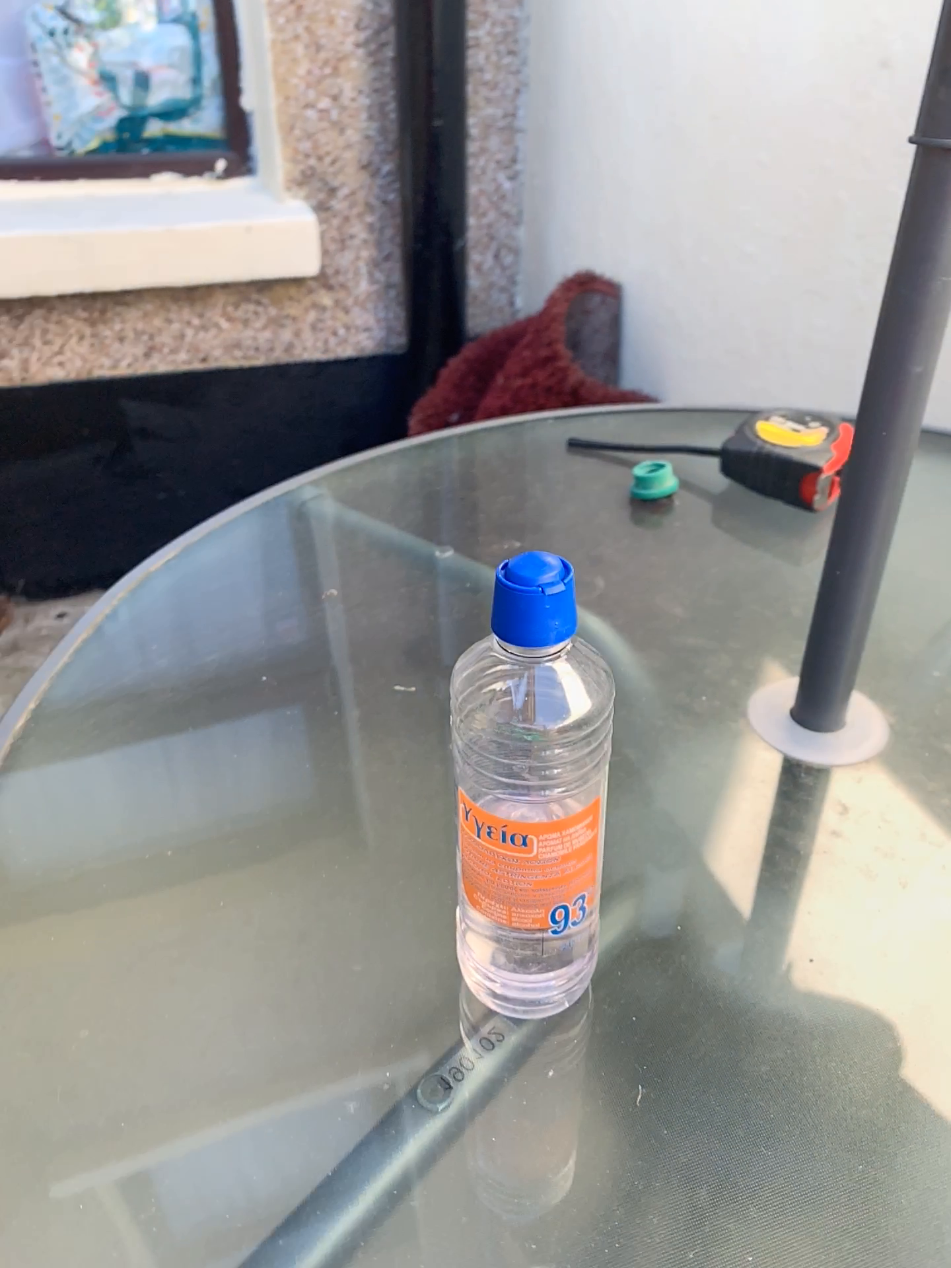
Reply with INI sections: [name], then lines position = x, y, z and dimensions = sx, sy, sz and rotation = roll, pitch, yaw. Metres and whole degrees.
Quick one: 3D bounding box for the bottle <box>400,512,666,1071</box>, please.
[bottle]
position = 0.017, 0.051, 0.298
dimensions = 0.060, 0.158, 0.061
rotation = 1, 33, 0
